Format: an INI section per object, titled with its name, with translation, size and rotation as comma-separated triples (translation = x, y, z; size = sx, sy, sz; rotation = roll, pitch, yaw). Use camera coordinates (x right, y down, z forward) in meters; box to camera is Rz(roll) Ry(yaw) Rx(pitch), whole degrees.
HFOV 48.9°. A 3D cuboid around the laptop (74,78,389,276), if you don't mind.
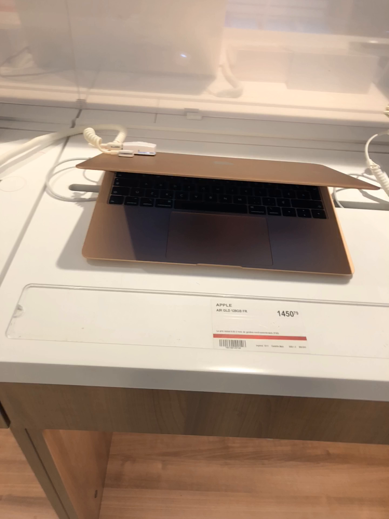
[laptop]
translation = 0.030, -0.112, 0.513
size = 0.298, 0.104, 0.226
rotation = 4, 43, 1
